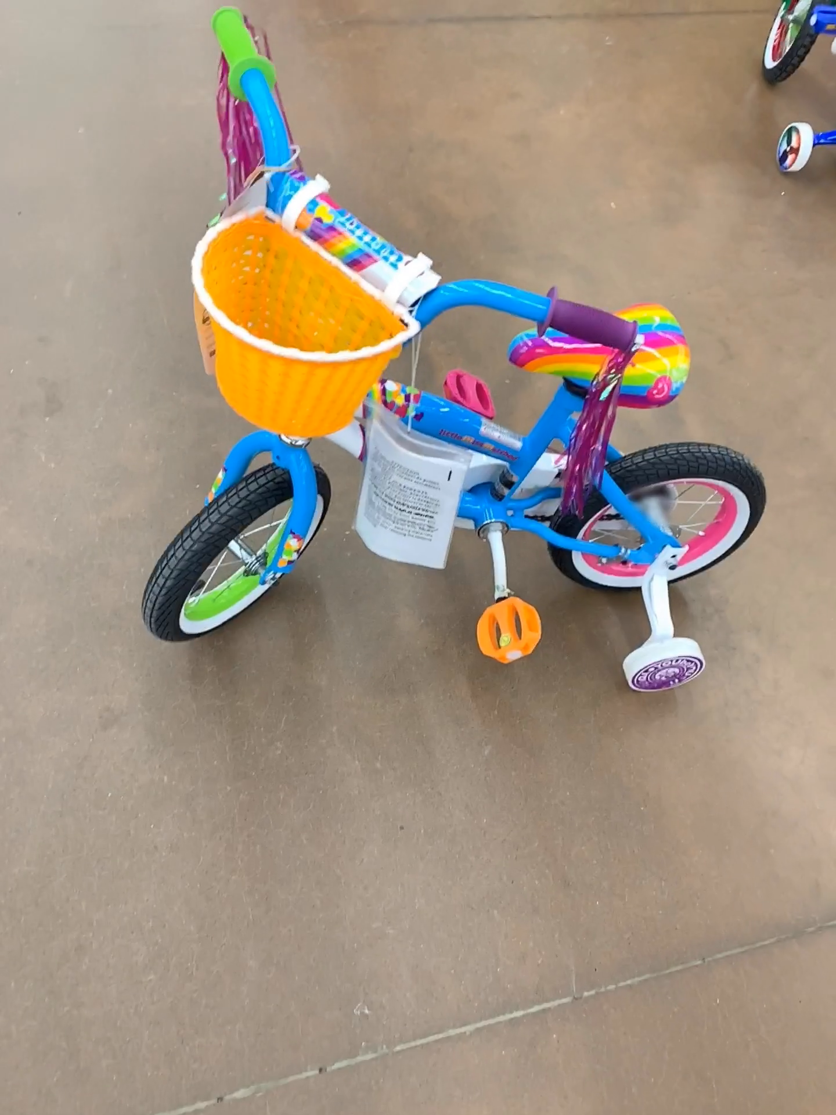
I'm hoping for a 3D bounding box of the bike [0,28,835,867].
[{"bbox_3d":[0.090,-0.107,0.986,0.834,0.667,0.522,-8,54,-9],"label":"bike"}]
